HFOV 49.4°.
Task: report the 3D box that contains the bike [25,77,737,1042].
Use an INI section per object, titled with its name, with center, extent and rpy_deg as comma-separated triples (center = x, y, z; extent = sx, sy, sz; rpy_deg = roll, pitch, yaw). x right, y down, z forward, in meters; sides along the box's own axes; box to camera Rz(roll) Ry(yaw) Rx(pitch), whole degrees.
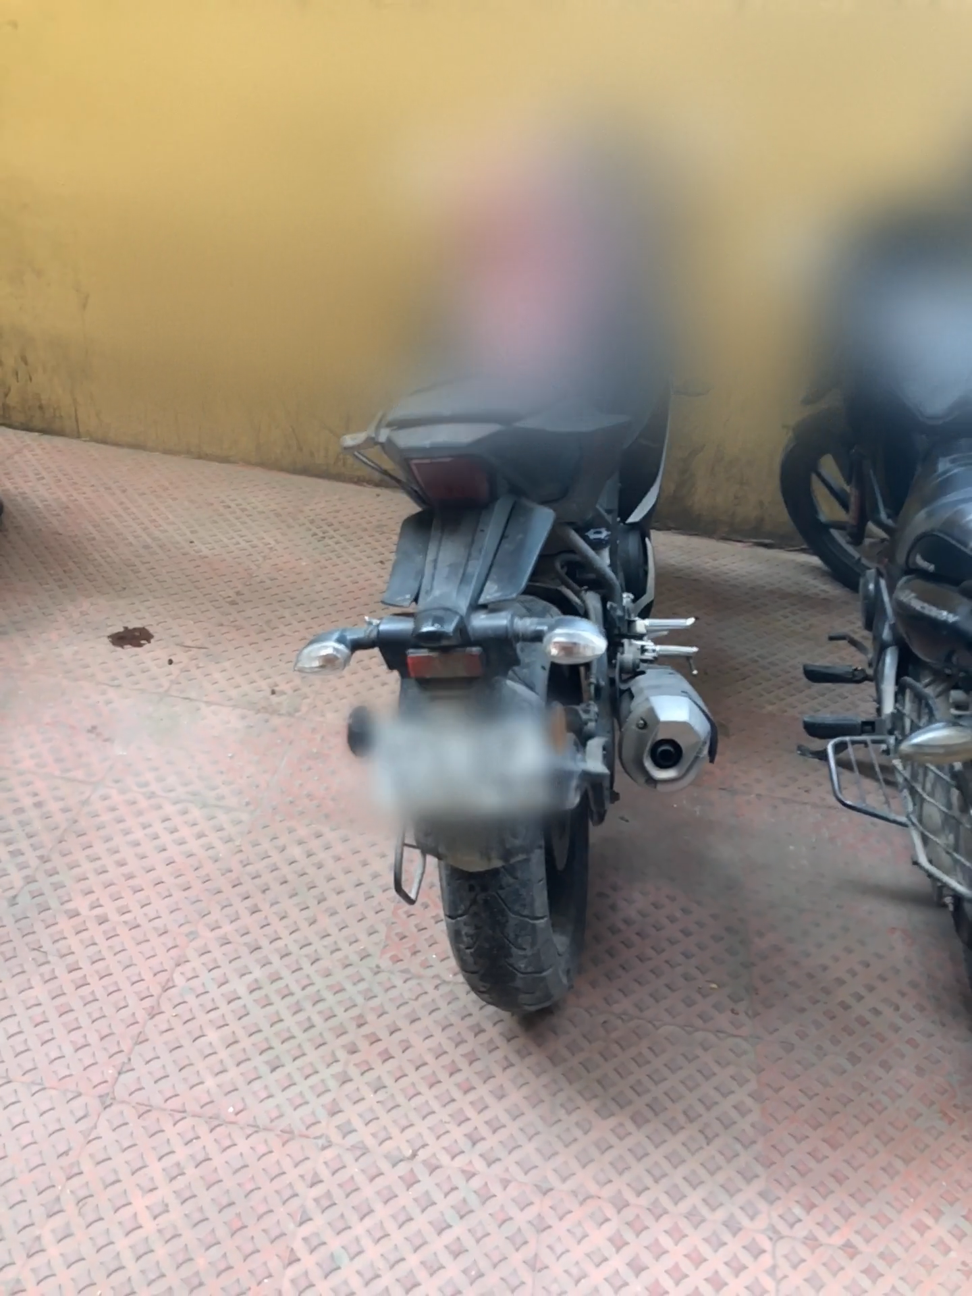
[bike]
center = -0.145, -0.399, 1.990
extent = 0.725, 0.869, 1.755
rpy_deg = 5, 35, -1
